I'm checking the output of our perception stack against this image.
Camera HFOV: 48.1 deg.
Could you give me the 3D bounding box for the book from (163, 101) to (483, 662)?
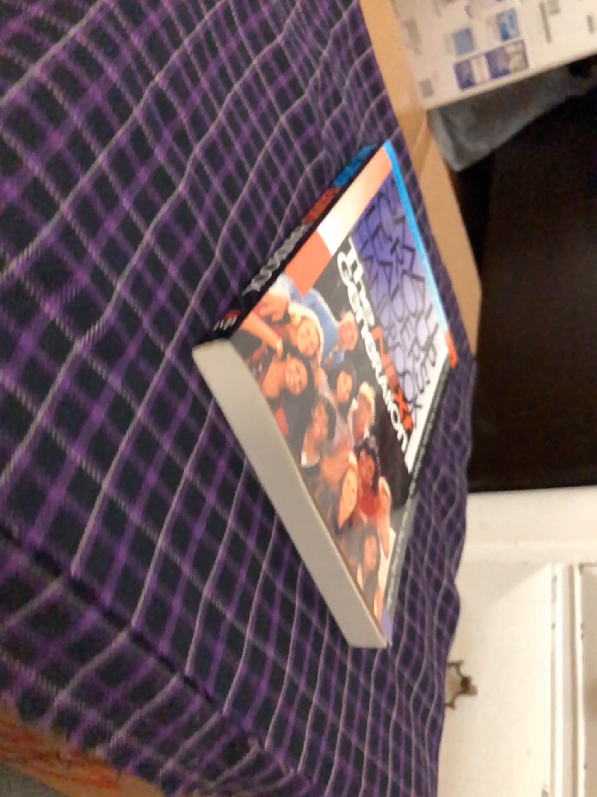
[{"bbox_3d":[0.038,-0.026,0.299,0.150,0.030,0.221,66,32,-27],"label":"book"}]
